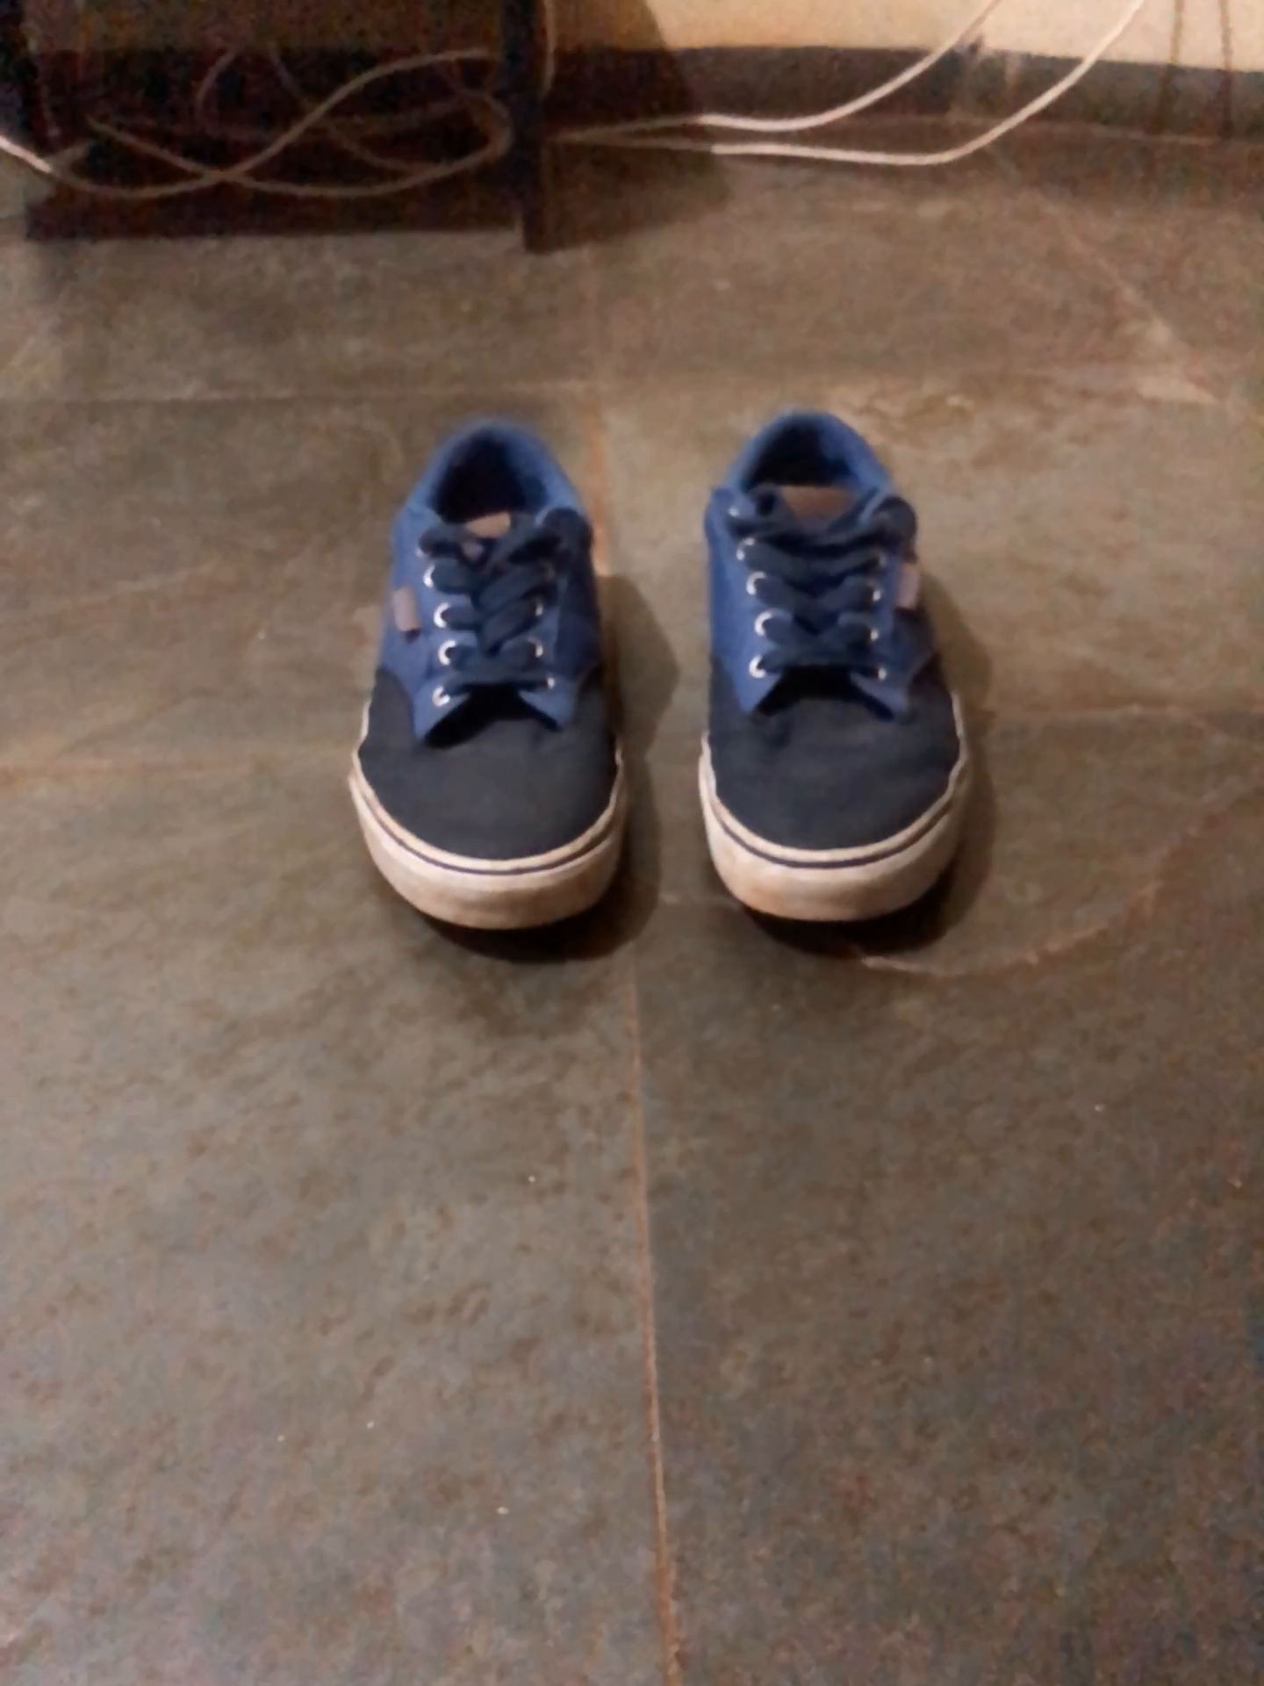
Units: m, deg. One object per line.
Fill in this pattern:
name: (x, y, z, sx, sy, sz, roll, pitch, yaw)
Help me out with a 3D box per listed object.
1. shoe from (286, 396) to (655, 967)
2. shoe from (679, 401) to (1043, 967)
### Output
shoe: (-0.058, -0.081, 0.556, 0.110, 0.079, 0.282, -3, 40, -3)
shoe: (0.076, -0.082, 0.570, 0.110, 0.079, 0.292, 1, 39, 2)
